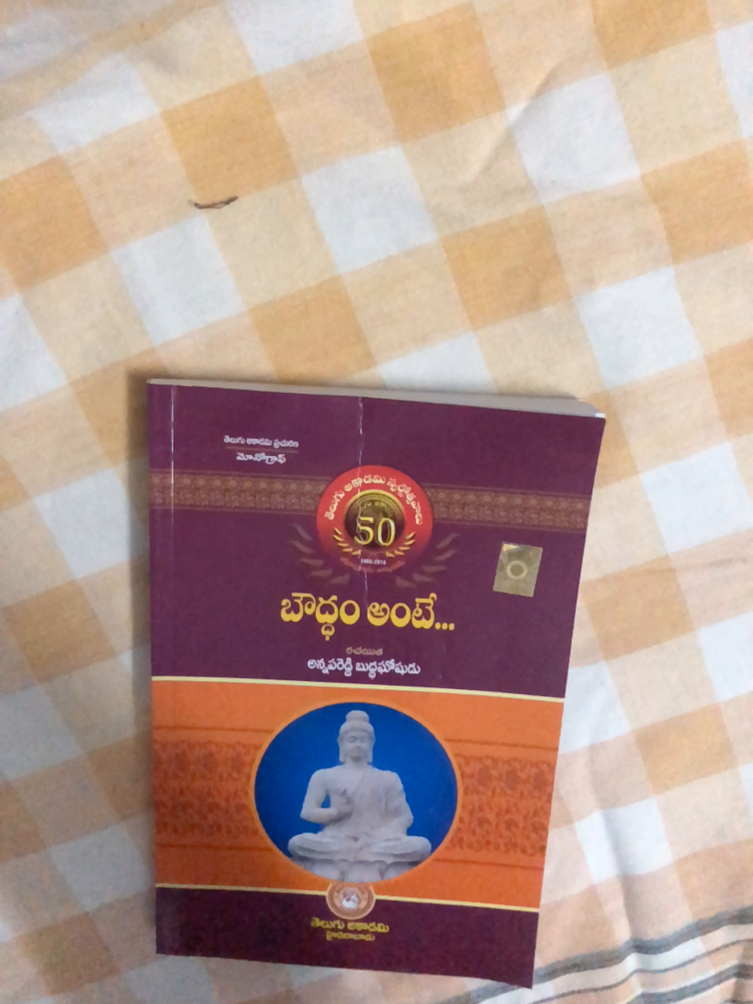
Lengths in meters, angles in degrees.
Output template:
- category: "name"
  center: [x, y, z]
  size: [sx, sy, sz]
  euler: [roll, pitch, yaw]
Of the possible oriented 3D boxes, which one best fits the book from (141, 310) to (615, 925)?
- category: "book"
  center: [-0.006, 0.054, 0.322]
  size: [0.160, 0.020, 0.240]
  euler: [3, 105, -3]
